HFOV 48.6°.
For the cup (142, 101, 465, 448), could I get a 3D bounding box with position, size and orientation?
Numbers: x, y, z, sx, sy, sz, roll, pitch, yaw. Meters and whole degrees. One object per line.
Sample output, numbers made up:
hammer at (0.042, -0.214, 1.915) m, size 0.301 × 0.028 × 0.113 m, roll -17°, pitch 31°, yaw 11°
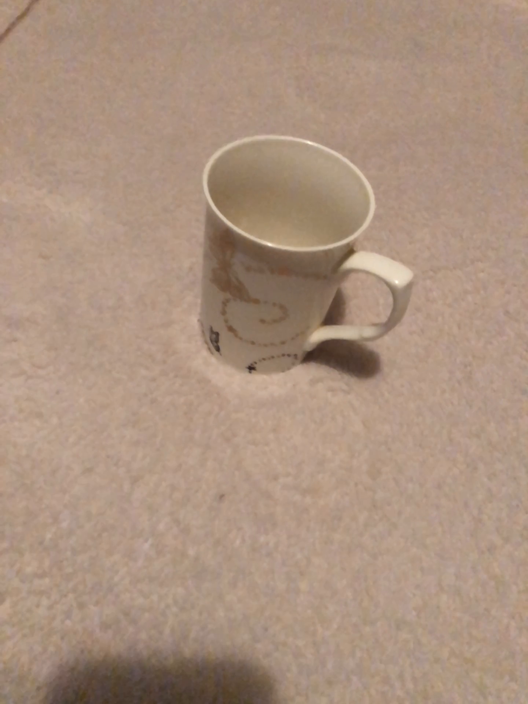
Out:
cup at (0.013, -0.034, 0.285) m, size 0.112 × 0.110 × 0.074 m, roll 29°, pitch 56°, yaw 14°
